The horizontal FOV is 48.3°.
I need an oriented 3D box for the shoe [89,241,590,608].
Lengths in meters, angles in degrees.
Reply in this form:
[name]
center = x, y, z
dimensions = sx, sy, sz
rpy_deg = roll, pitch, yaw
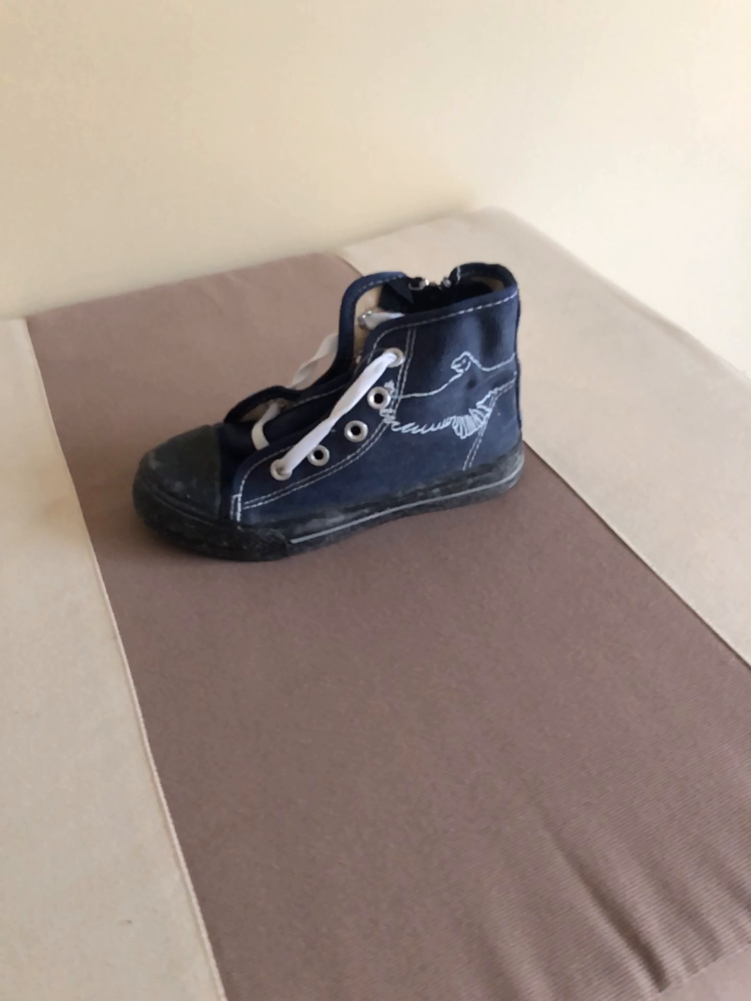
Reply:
[shoe]
center = -0.017, -0.041, 0.396
dimensions = 0.200, 0.099, 0.090
rpy_deg = -14, 42, -13
